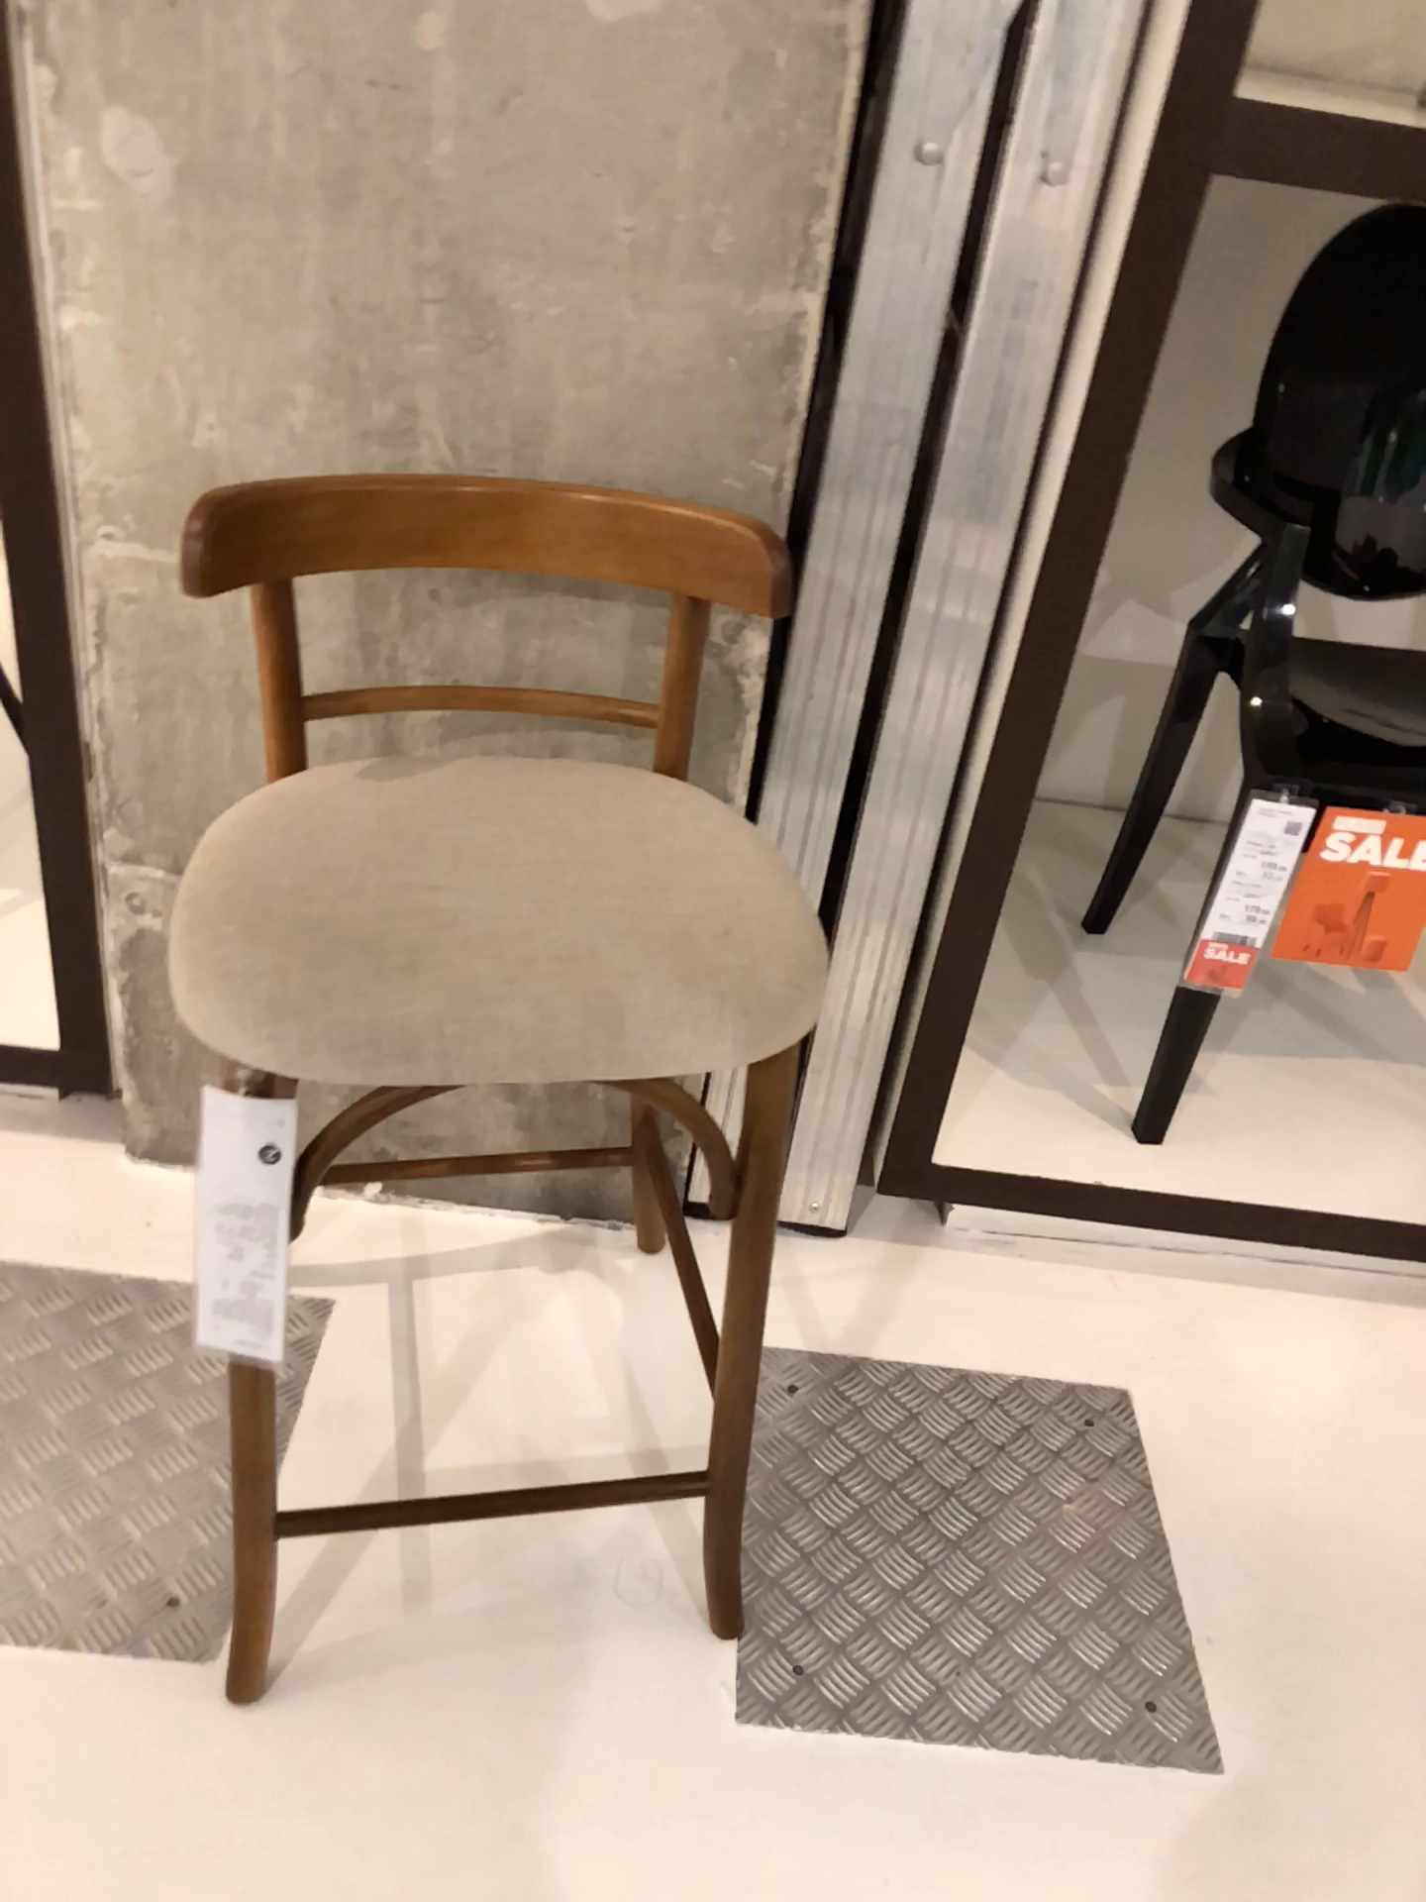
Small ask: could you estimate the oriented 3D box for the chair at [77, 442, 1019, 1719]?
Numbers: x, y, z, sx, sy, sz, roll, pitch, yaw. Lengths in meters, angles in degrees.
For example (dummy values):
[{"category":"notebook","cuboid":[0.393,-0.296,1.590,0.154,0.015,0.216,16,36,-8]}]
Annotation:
[{"category":"chair","cuboid":[-0.173,0.103,1.220,0.490,0.814,0.483,0,33,-15]}]
